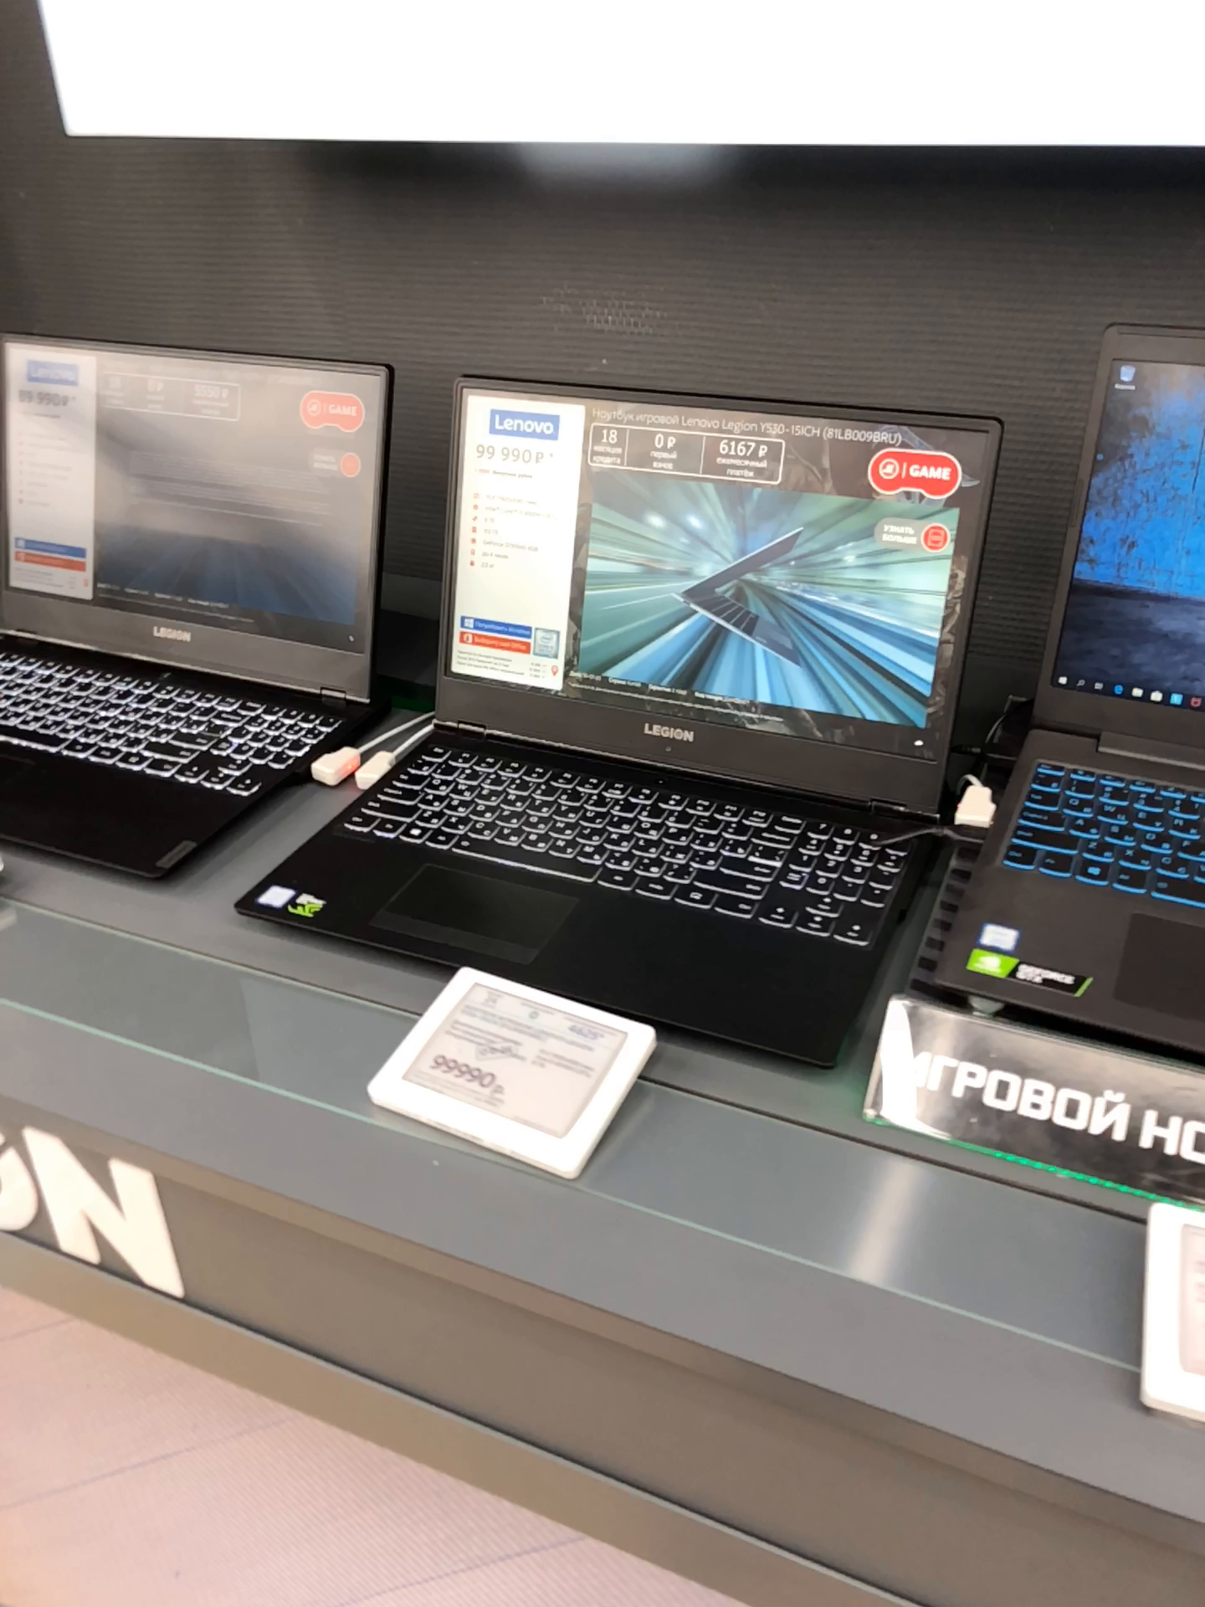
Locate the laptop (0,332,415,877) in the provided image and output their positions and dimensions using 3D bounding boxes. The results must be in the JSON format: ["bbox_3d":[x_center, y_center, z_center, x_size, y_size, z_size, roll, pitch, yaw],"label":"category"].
[{"bbox_3d":[-0.369,-0.165,0.913,0.353,0.223,0.316,11,33,19],"label":"laptop"}]

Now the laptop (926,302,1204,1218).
[{"bbox_3d":[0.389,-0.067,0.635,0.354,0.225,0.335,12,37,23],"label":"laptop"}]

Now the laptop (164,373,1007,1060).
[{"bbox_3d":[0.010,-0.082,0.756,0.352,0.225,0.302,12,34,22],"label":"laptop"}]
